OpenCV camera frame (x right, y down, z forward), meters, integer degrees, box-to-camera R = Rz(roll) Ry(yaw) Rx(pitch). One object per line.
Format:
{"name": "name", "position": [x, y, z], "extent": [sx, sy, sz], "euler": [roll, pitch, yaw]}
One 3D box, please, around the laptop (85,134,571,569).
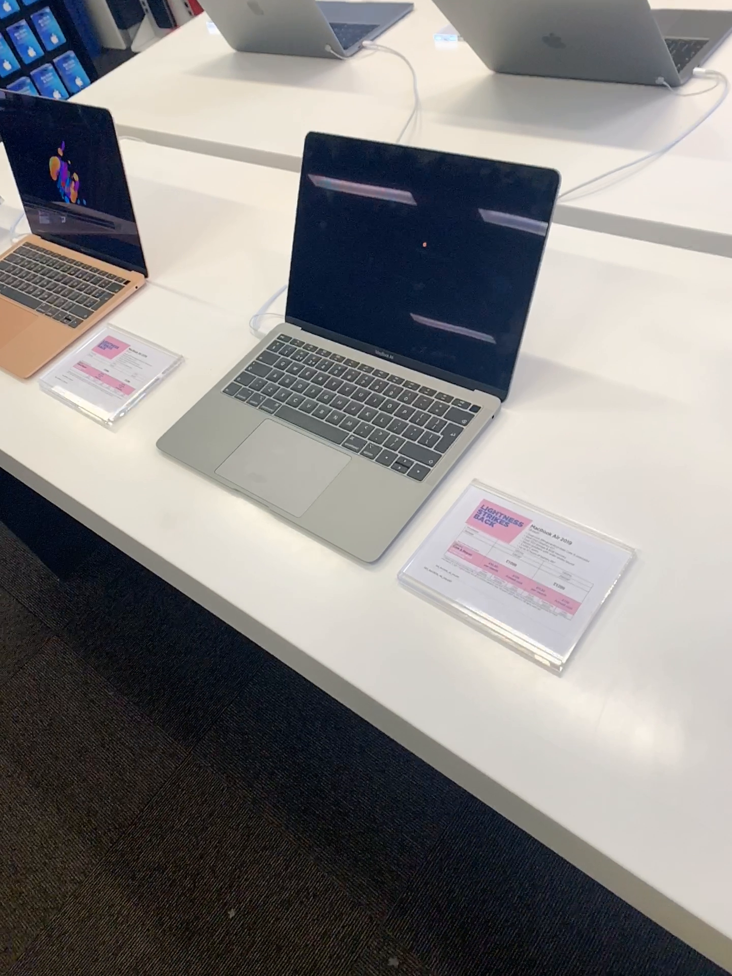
{"name": "laptop", "position": [-0.020, -0.152, 0.702], "extent": [0.290, 0.160, 0.329], "euler": [25, 62, 32]}
